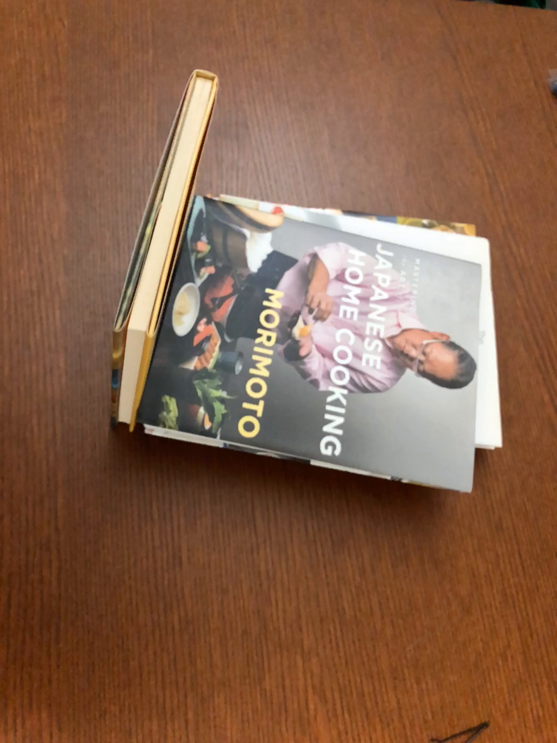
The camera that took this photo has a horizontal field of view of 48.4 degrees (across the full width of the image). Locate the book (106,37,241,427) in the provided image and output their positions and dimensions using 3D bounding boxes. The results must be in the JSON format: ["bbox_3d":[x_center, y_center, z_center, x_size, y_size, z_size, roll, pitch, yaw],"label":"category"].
[{"bbox_3d":[-0.082,-0.087,0.468,0.030,0.209,0.211,15,67,-8],"label":"book"}]

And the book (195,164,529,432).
[{"bbox_3d":[0.077,-0.068,0.560,0.280,0.030,0.221,6,67,-8],"label":"book"}]

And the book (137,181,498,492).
[{"bbox_3d":[0.046,-0.034,0.523,0.280,0.030,0.221,11,66,-6],"label":"book"}]

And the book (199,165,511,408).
[{"bbox_3d":[0.071,-0.083,0.595,0.280,0.030,0.221,4,68,-9],"label":"book"}]
